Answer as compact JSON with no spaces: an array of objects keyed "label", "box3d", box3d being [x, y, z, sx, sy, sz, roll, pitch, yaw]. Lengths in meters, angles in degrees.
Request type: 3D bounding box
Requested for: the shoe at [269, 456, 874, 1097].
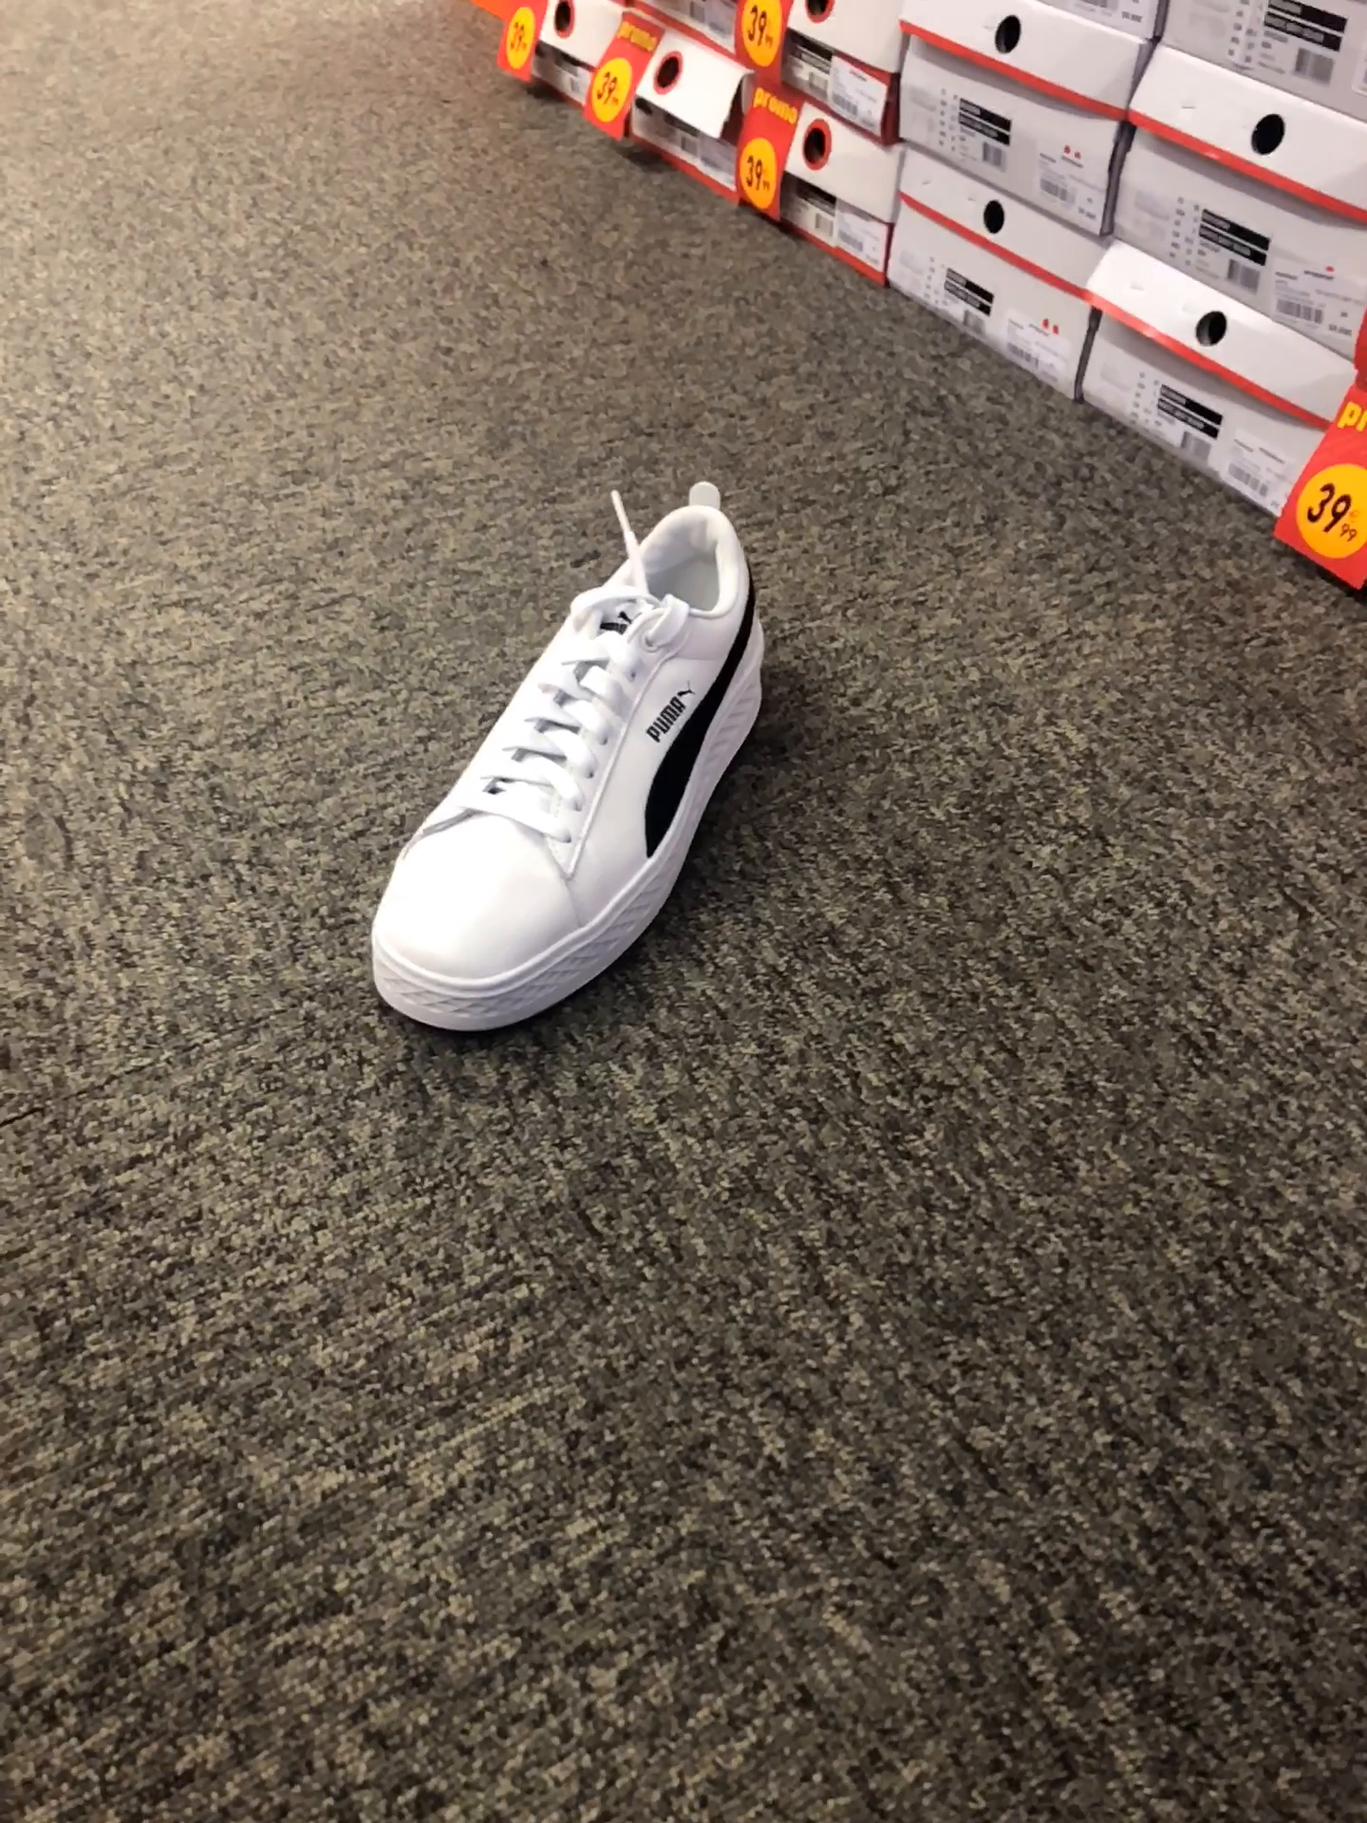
[{"label":"shoe","box3d":[-0.031,-0.073,0.639,0.110,0.089,0.292,21,50,19]}]
